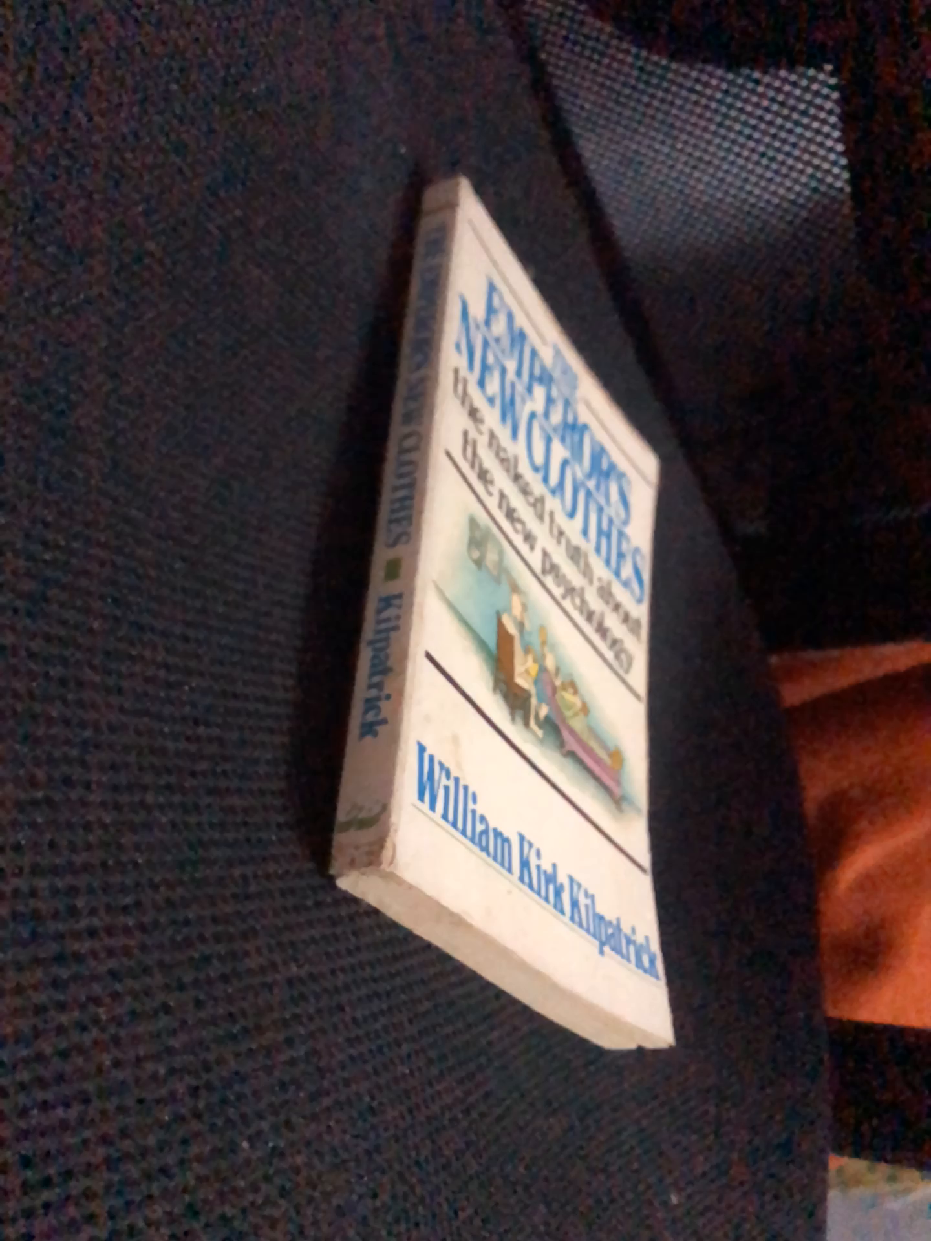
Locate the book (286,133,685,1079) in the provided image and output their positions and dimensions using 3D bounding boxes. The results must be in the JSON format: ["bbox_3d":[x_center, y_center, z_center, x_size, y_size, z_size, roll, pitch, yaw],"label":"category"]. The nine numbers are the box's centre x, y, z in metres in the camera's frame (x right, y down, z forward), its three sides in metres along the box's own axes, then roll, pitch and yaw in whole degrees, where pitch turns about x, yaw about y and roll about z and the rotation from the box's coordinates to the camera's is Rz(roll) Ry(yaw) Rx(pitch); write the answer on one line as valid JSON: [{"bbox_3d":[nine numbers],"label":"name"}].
[{"bbox_3d":[0.020,-0.009,0.296,0.145,0.020,0.230,47,37,-44],"label":"book"}]
